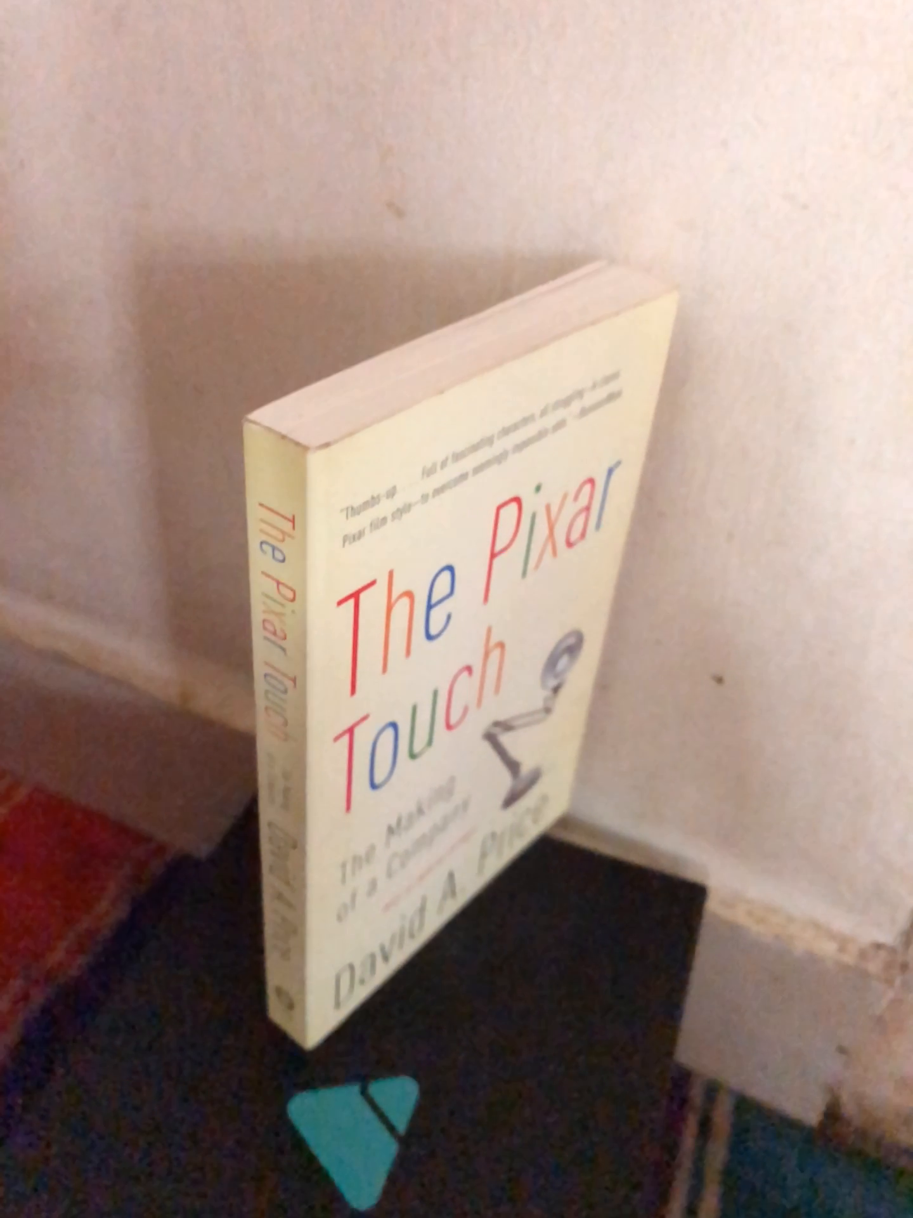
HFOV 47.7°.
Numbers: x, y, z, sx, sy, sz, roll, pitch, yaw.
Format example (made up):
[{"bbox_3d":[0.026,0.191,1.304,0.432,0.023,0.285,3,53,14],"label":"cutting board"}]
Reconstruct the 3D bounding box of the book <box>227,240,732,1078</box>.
[{"bbox_3d":[0.005,0.016,0.283,0.030,0.199,0.140,30,42,27],"label":"book"}]
